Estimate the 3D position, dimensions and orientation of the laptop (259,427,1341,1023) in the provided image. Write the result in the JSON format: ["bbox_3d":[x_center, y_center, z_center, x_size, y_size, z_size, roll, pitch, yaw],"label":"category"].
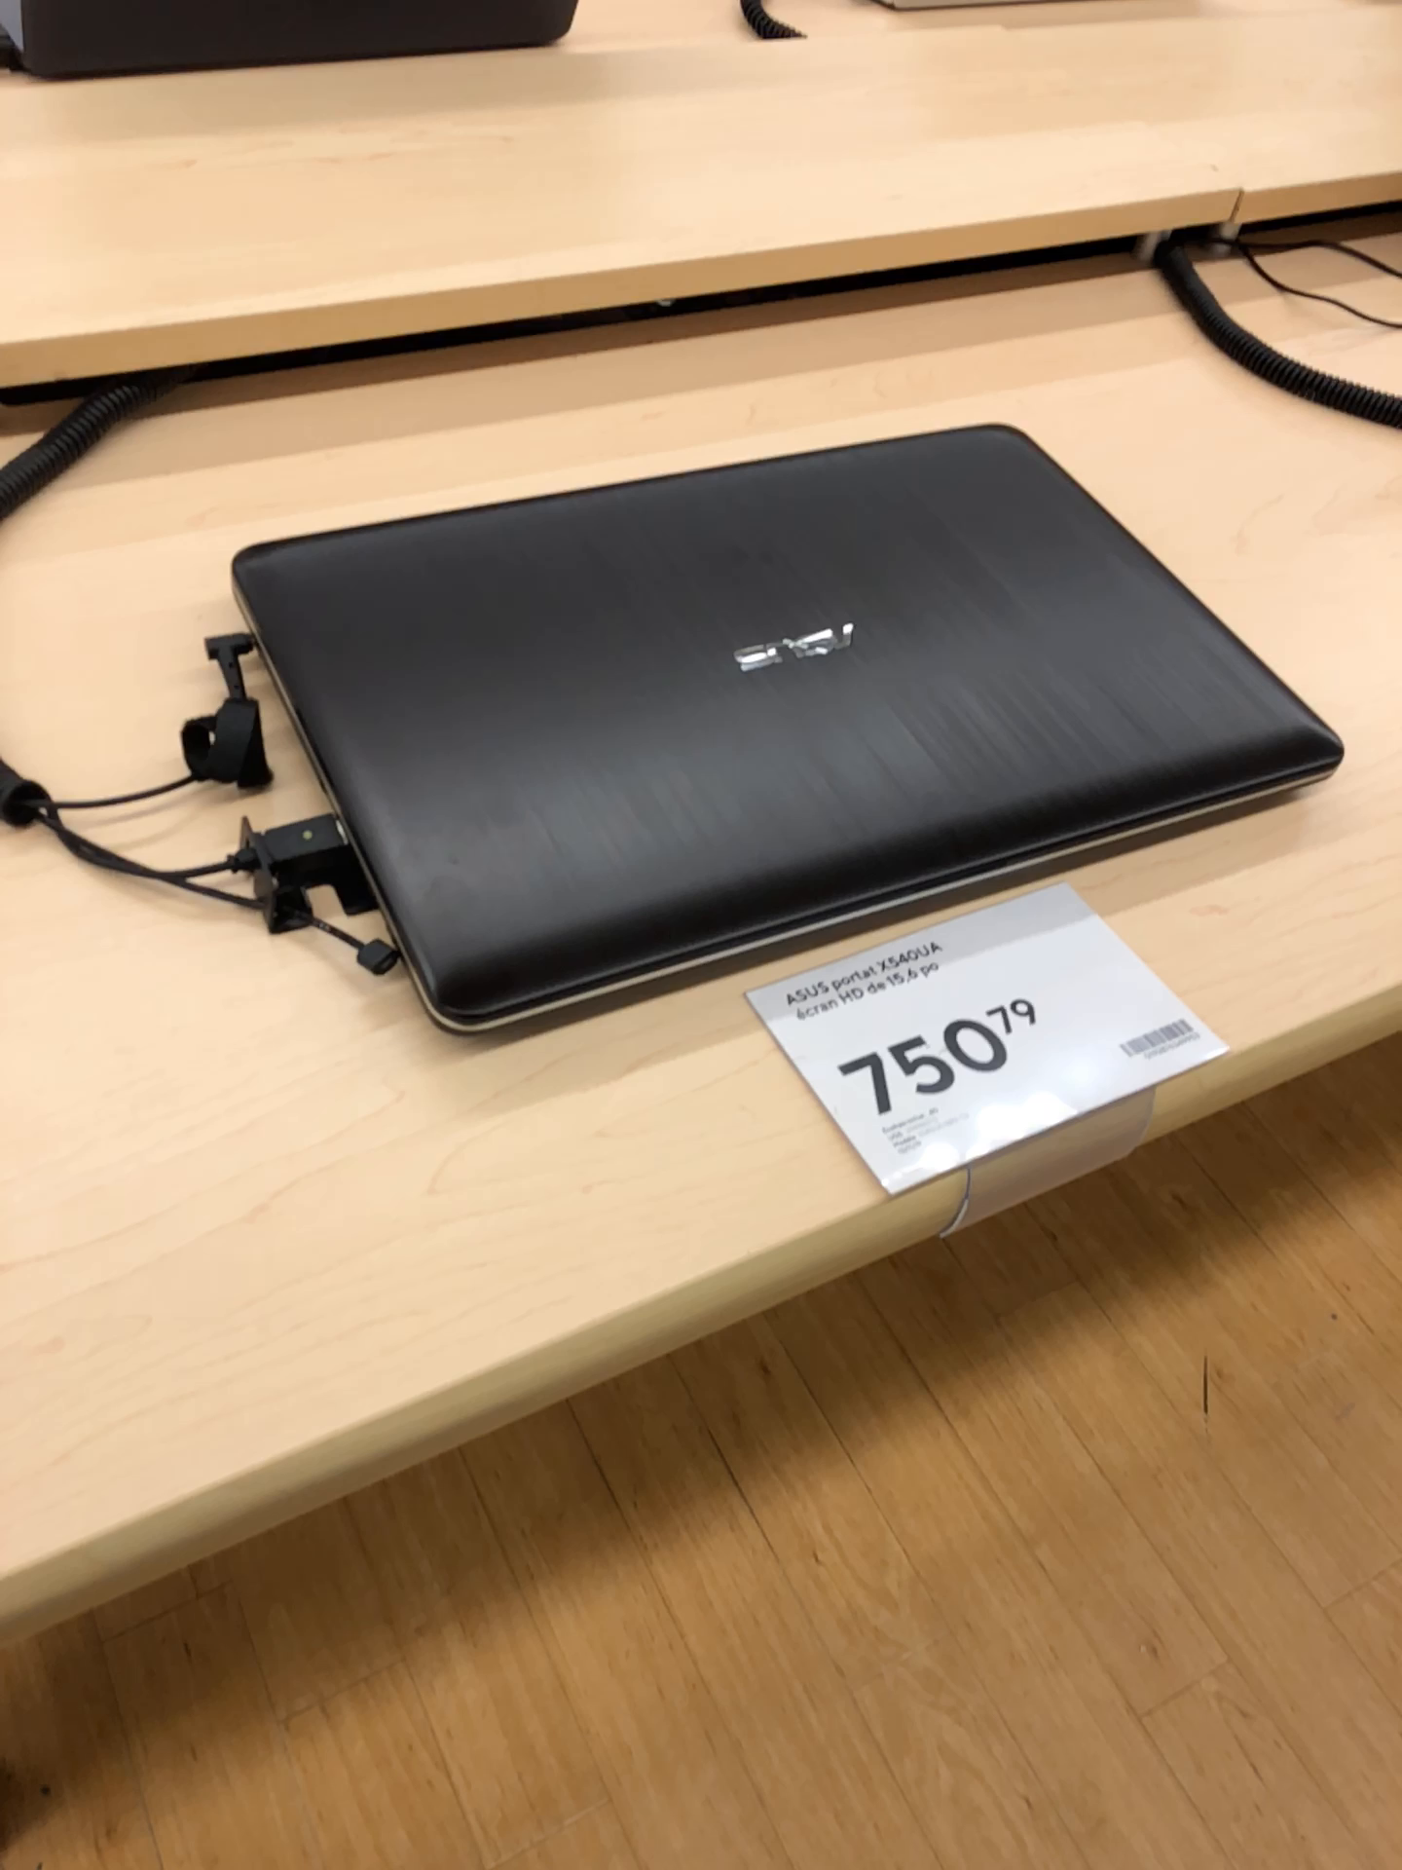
[{"bbox_3d":[0.041,-0.107,0.604,0.369,0.010,0.228,-16,55,-22],"label":"laptop"}]
